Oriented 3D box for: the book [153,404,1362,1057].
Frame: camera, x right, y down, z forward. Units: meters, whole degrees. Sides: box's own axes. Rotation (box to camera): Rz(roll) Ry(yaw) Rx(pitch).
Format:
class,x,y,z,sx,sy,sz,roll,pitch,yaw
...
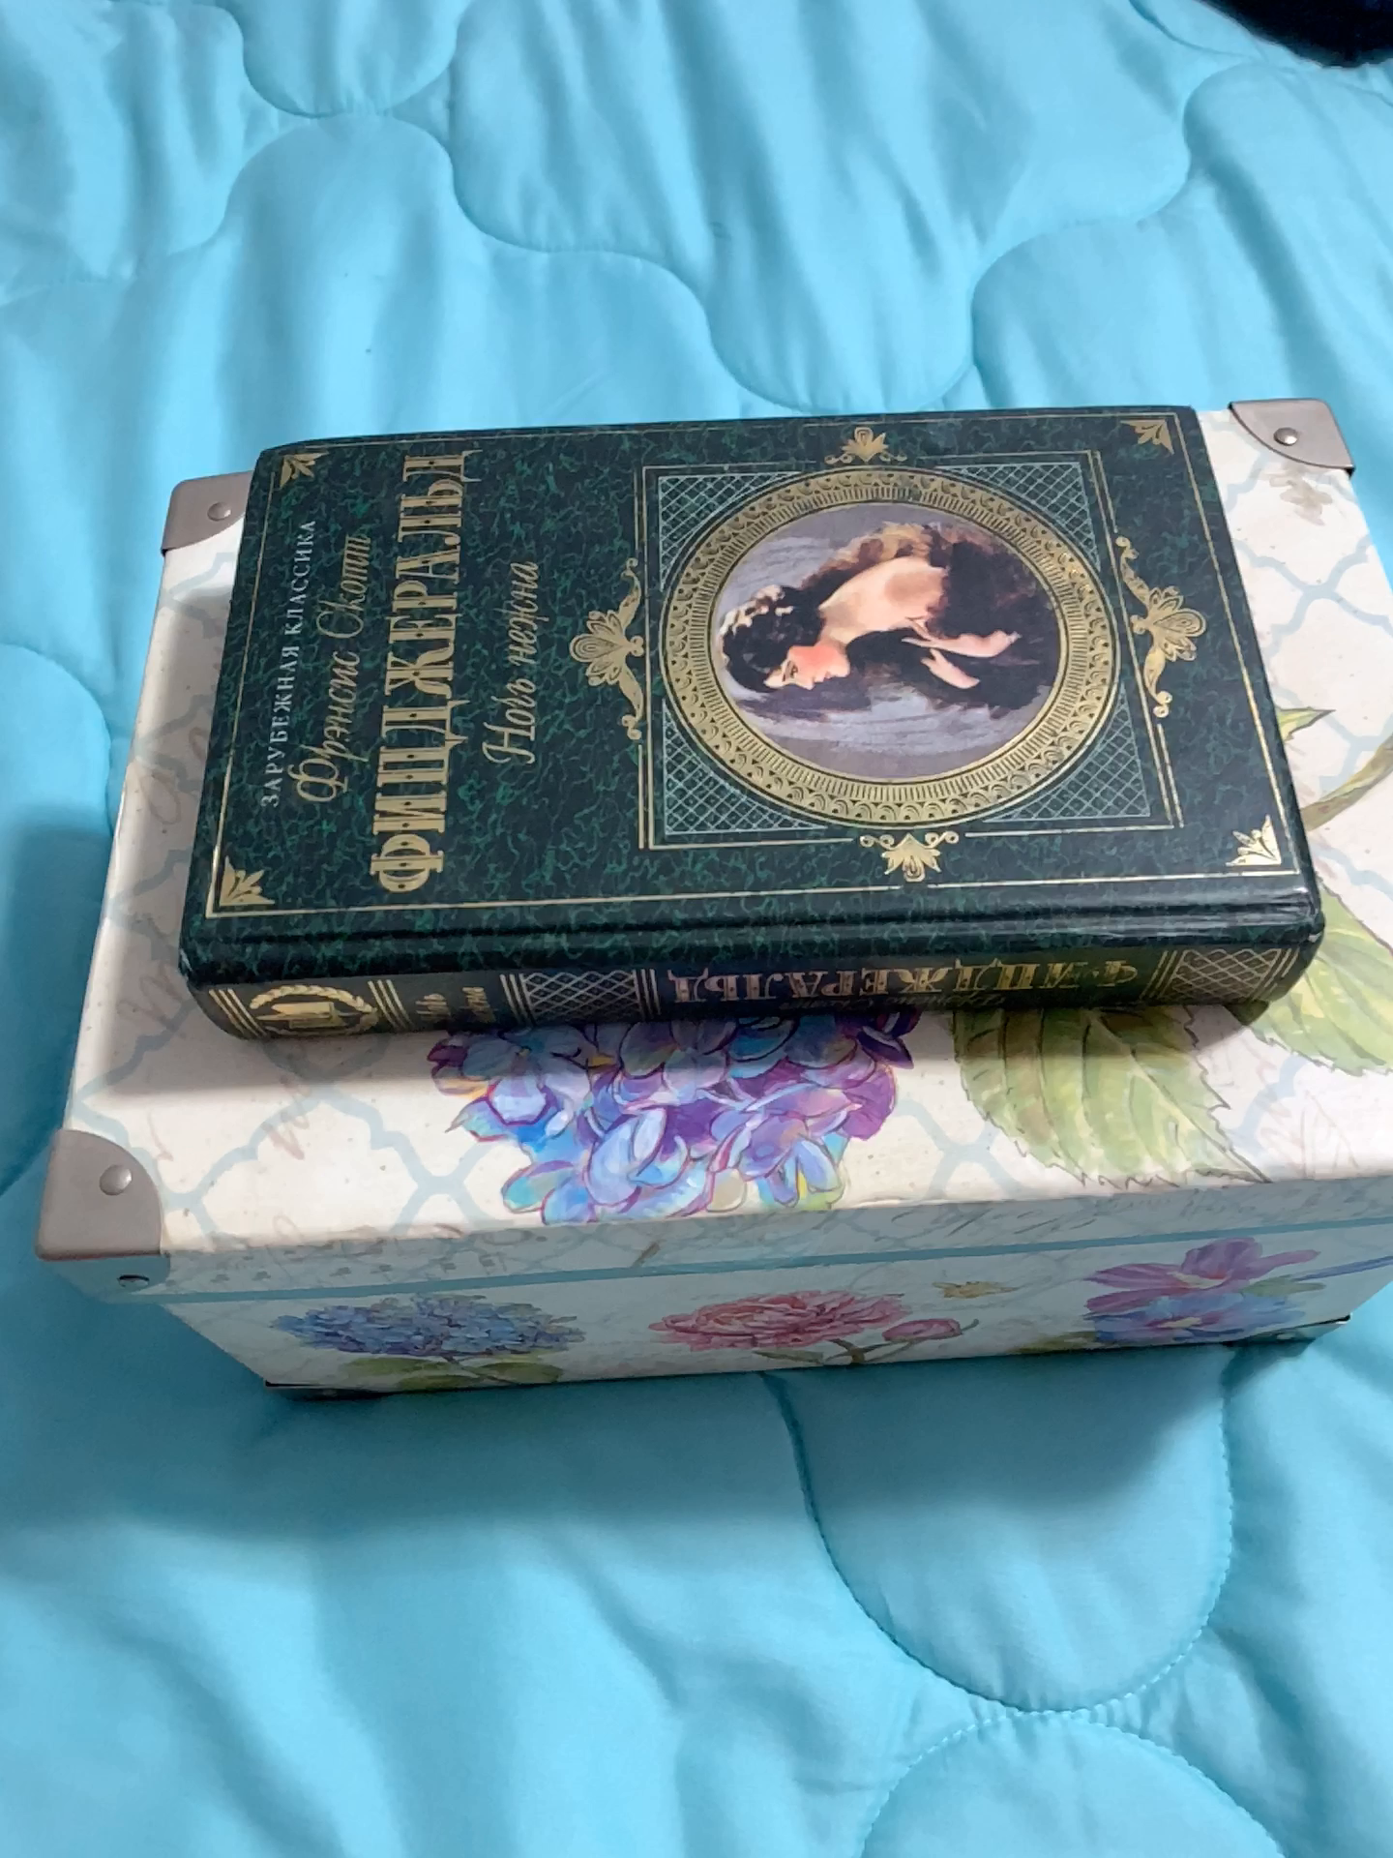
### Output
class,x,y,z,sx,sy,sz,roll,pitch,yaw
book,0.009,-0.047,0.307,0.220,0.030,0.140,-2,61,1
